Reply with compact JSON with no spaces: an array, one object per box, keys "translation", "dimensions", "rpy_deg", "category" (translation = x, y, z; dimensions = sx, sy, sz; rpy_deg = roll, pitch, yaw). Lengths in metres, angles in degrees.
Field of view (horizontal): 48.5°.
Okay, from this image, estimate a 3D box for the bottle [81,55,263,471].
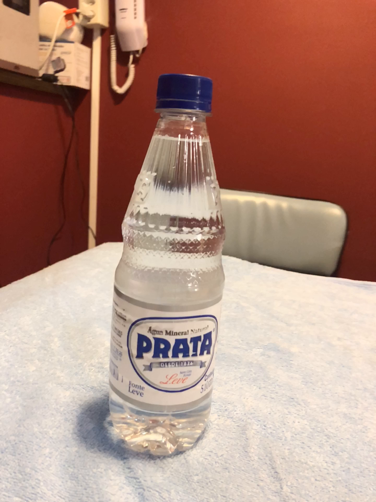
[{"translation":[-0.020,0.010,0.255],"dimensions":[0.080,0.219,0.070],"rpy_deg":[1,15,-17],"category":"bottle"}]
